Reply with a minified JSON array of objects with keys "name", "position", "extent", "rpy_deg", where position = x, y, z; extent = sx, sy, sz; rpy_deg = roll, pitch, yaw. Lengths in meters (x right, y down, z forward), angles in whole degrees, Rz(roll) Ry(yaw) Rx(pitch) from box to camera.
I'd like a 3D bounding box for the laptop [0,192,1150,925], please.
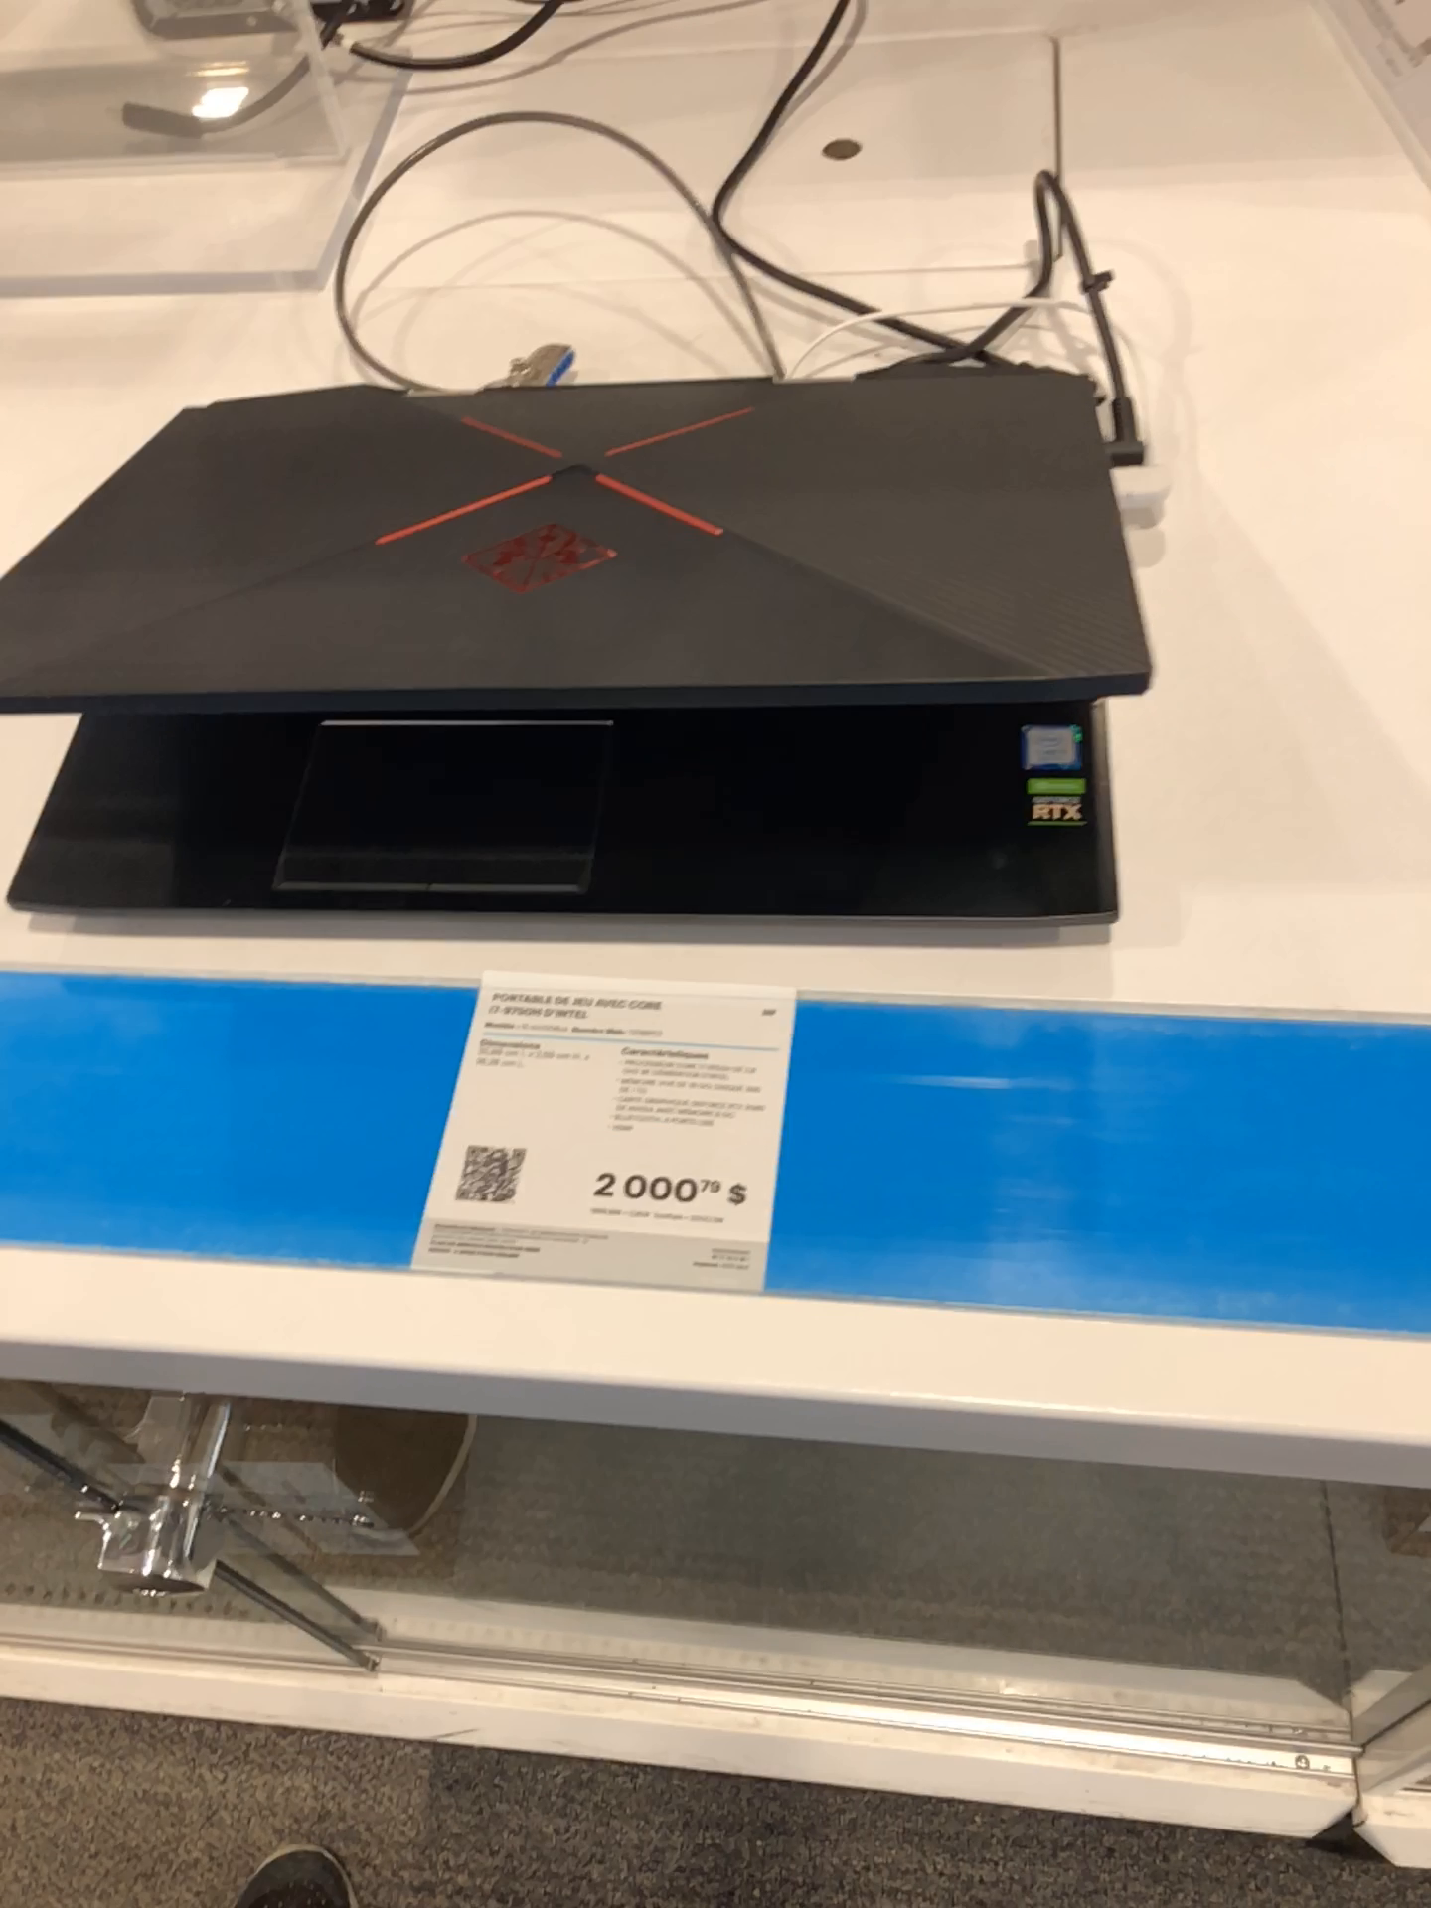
[{"name":"laptop","position":[-0.050,-0.135,0.514],"extent":[0.346,0.085,0.235],"rpy_deg":[1,56,8]}]
